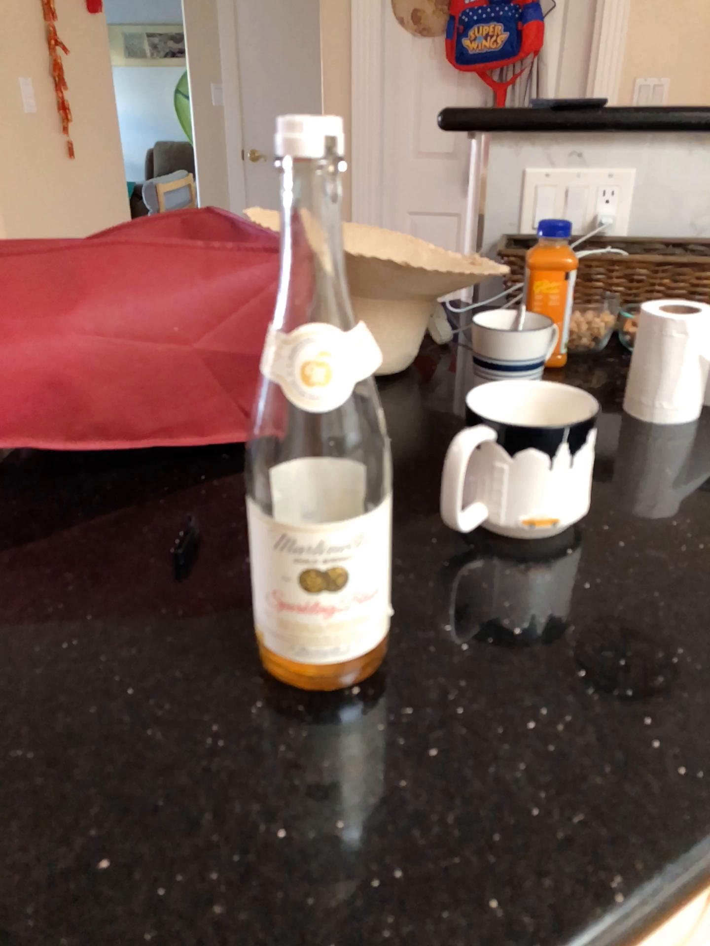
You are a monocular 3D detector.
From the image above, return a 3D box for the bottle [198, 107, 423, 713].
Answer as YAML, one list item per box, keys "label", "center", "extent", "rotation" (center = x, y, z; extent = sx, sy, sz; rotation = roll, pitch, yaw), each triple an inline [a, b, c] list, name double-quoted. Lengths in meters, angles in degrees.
- label: "bottle"
  center: [-0.021, -0.024, 0.438]
  extent: [0.093, 0.330, 0.101]
  rotation: [0, 27, 0]
